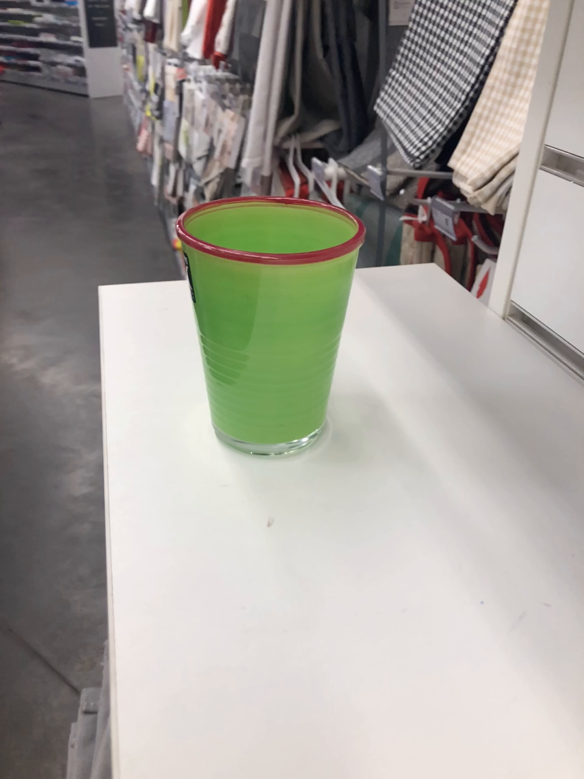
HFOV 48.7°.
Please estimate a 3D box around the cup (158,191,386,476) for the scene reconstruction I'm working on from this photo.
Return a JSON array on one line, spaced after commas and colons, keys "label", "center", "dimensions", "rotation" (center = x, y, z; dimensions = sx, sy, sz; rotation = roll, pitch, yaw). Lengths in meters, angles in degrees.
[{"label": "cup", "center": [-0.014, -0.029, 0.292], "dimensions": [0.082, 0.098, 0.087], "rotation": [2, 30, -1]}]
